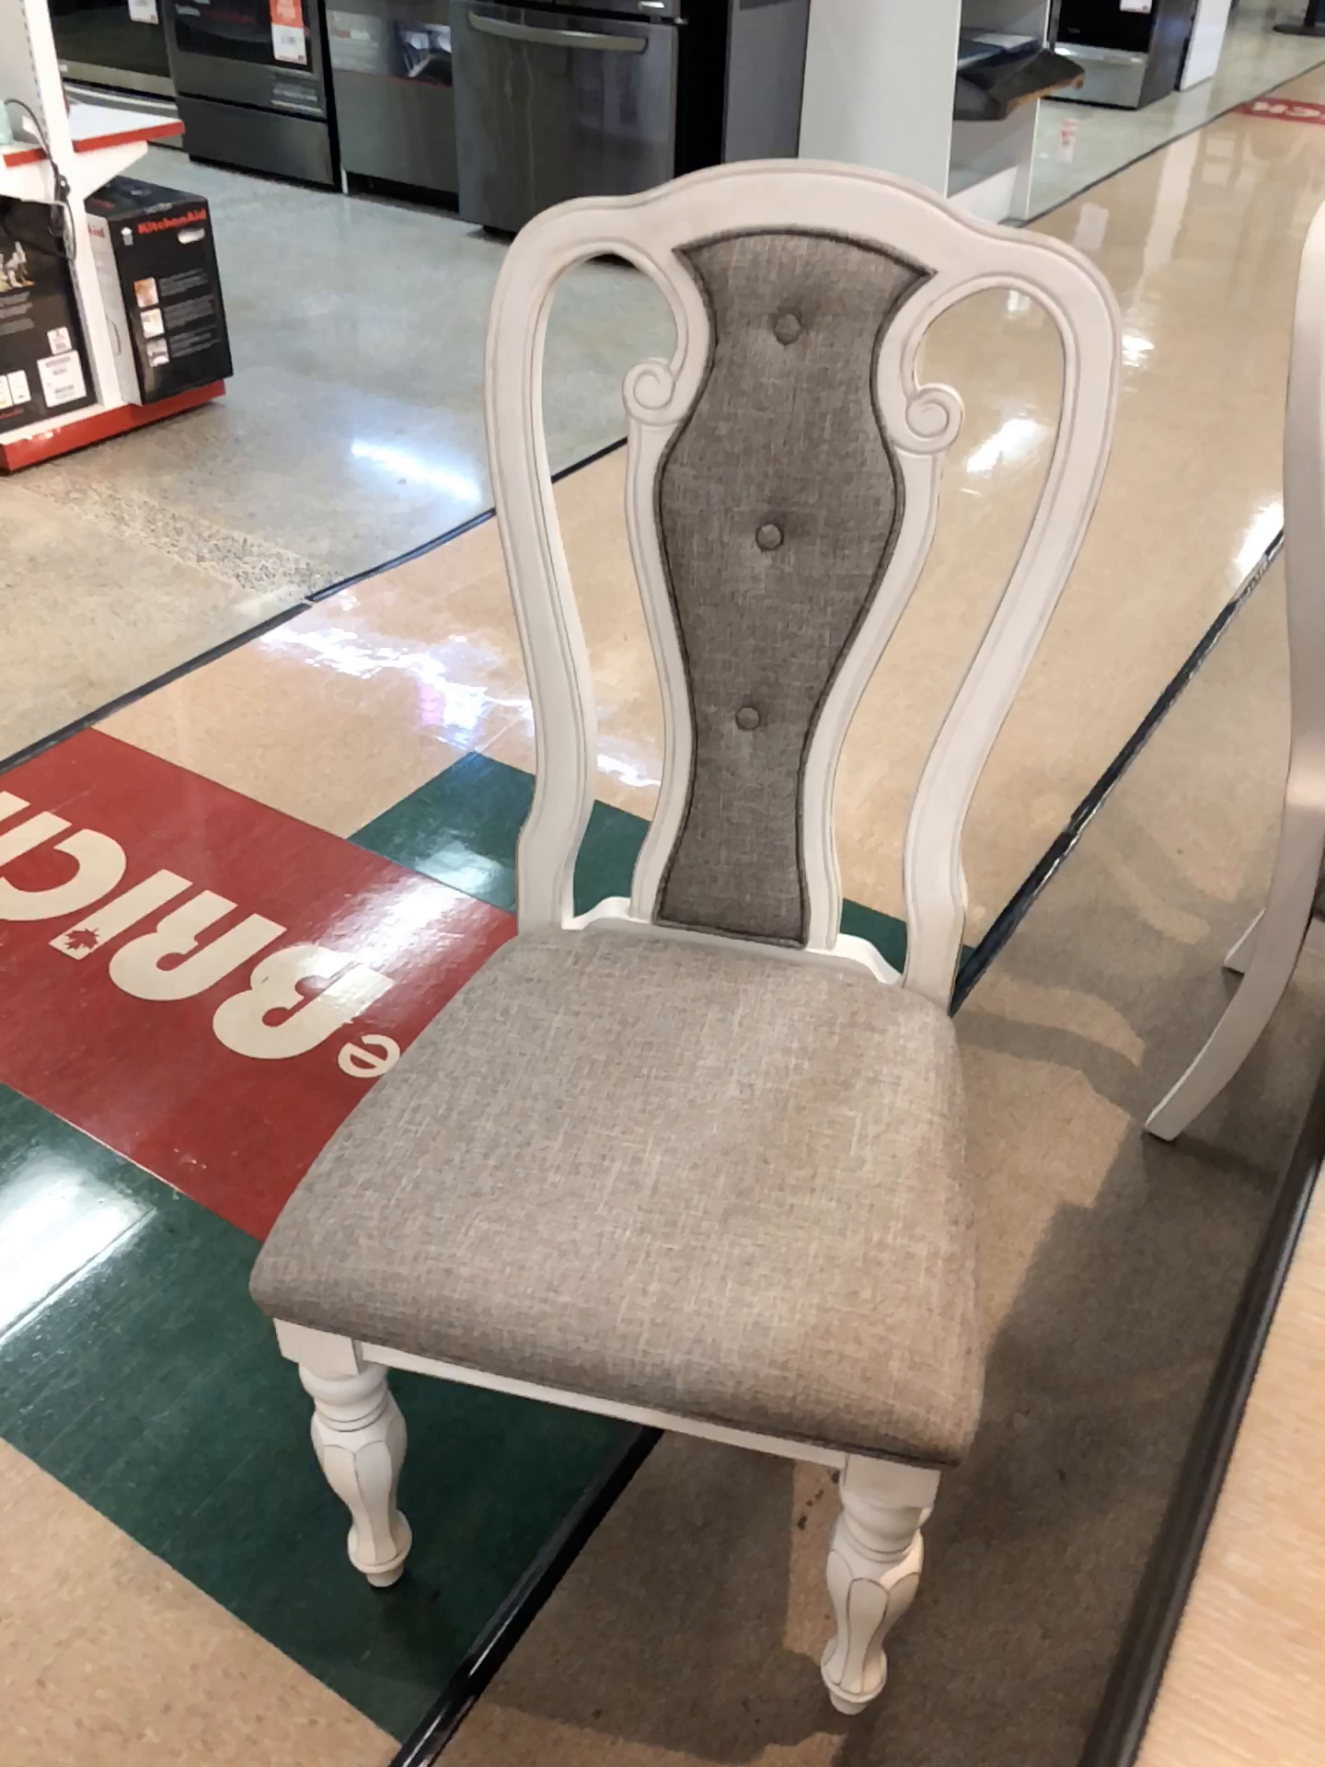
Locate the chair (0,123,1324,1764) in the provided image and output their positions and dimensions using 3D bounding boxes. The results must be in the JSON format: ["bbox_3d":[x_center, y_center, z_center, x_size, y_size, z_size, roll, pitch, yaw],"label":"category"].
[{"bbox_3d":[0.045,0.044,1.140,0.550,1.013,0.674,10,38,11],"label":"chair"}]
